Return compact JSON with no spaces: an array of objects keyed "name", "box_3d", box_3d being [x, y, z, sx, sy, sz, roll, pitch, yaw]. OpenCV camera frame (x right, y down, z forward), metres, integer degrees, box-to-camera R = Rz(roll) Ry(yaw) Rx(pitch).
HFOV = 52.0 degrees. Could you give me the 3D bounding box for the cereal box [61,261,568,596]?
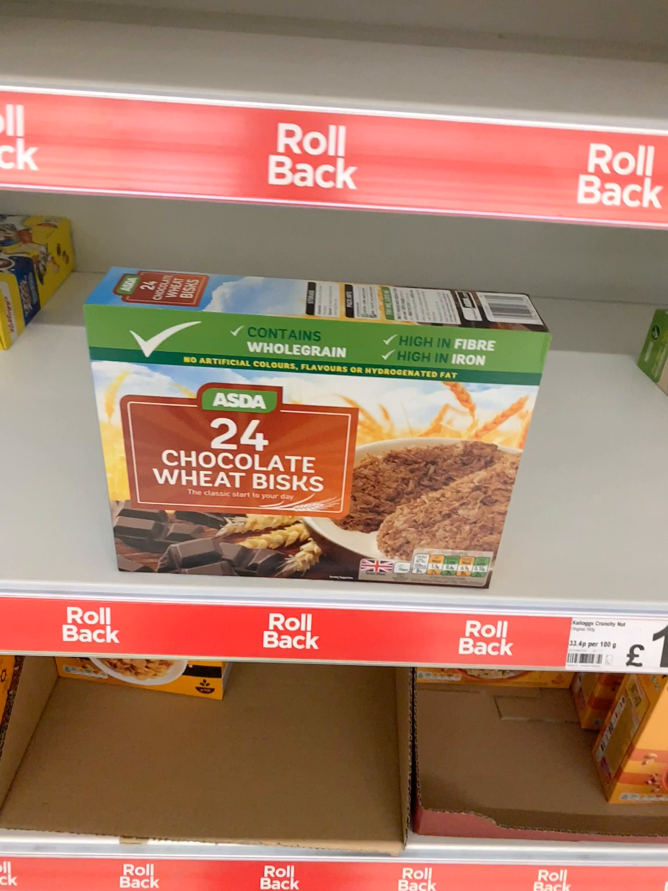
[{"name":"cereal box","box_3d":[-0.014,-0.004,0.416,0.250,0.178,0.071,3,34,-2]}]
